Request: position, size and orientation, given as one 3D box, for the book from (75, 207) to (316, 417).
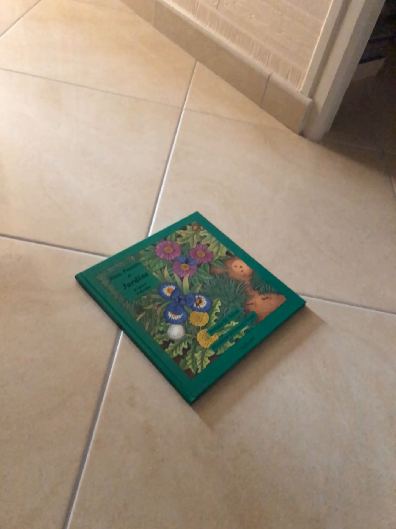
[{"bbox_3d":[-0.001,0.042,0.615,0.241,0.030,0.240,-32,62,-33],"label":"book"}]
